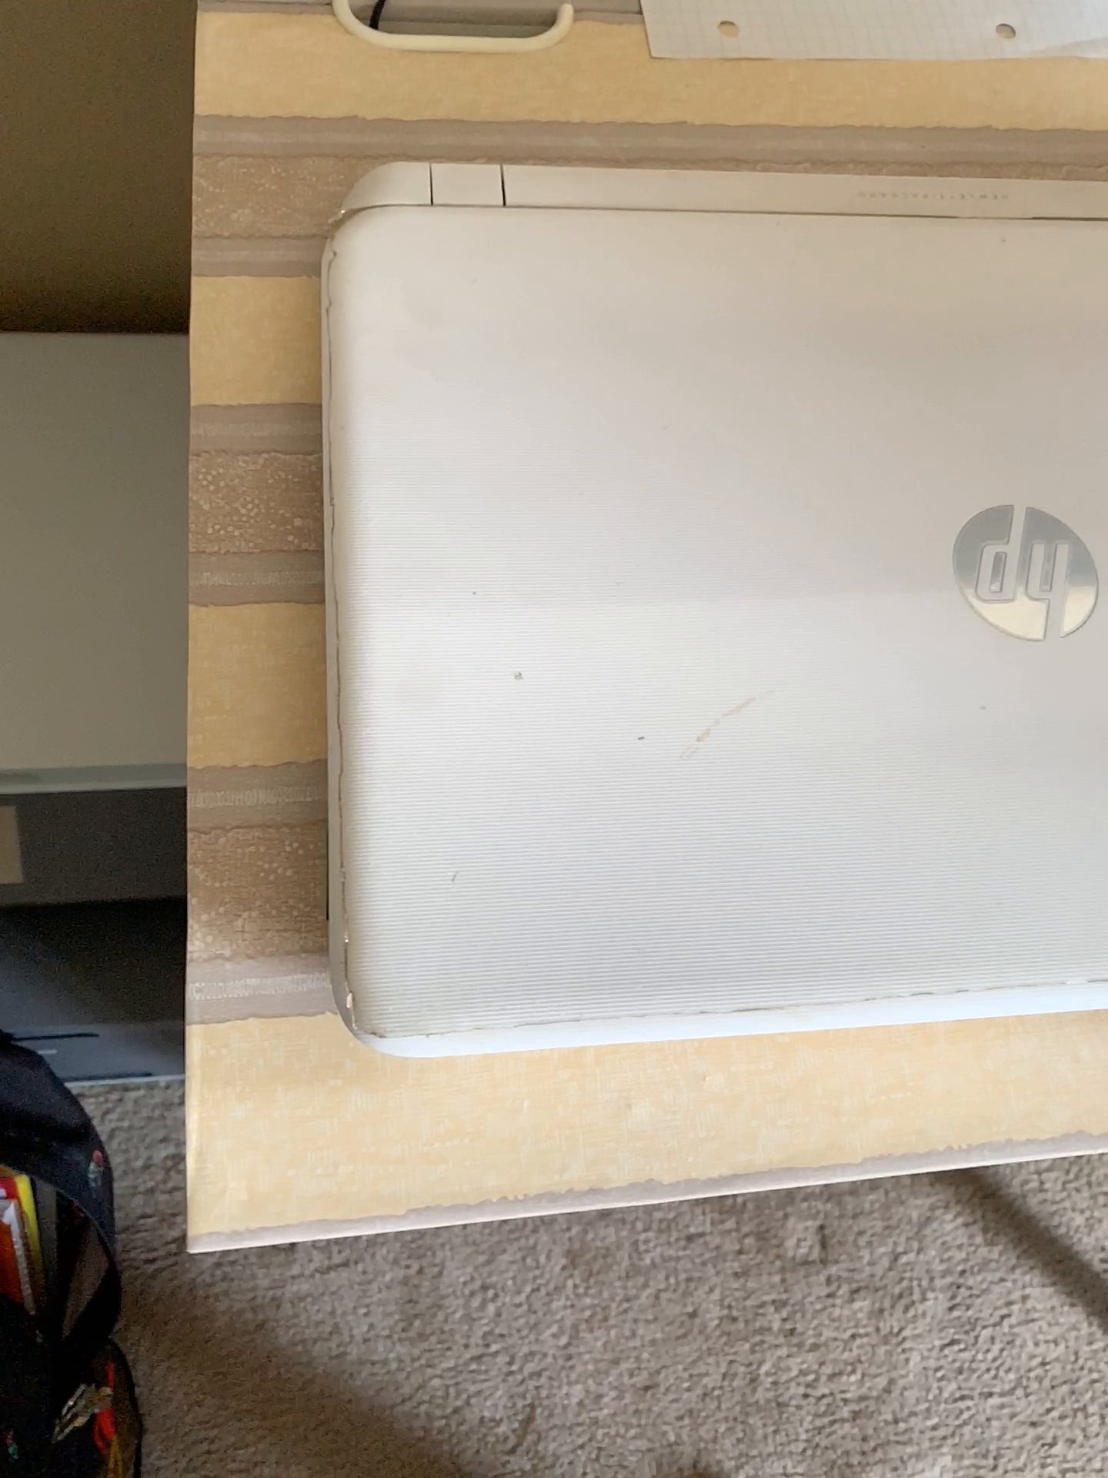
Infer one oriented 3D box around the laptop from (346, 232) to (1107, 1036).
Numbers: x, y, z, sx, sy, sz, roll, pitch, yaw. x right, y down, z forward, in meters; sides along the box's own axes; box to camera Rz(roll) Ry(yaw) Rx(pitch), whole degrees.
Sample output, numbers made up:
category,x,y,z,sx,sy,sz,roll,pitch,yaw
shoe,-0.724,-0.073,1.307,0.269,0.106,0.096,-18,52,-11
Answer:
category,x,y,z,sx,sy,sz,roll,pitch,yaw
laptop,0.127,-0.048,0.319,0.363,0.002,0.229,-2,71,-6
